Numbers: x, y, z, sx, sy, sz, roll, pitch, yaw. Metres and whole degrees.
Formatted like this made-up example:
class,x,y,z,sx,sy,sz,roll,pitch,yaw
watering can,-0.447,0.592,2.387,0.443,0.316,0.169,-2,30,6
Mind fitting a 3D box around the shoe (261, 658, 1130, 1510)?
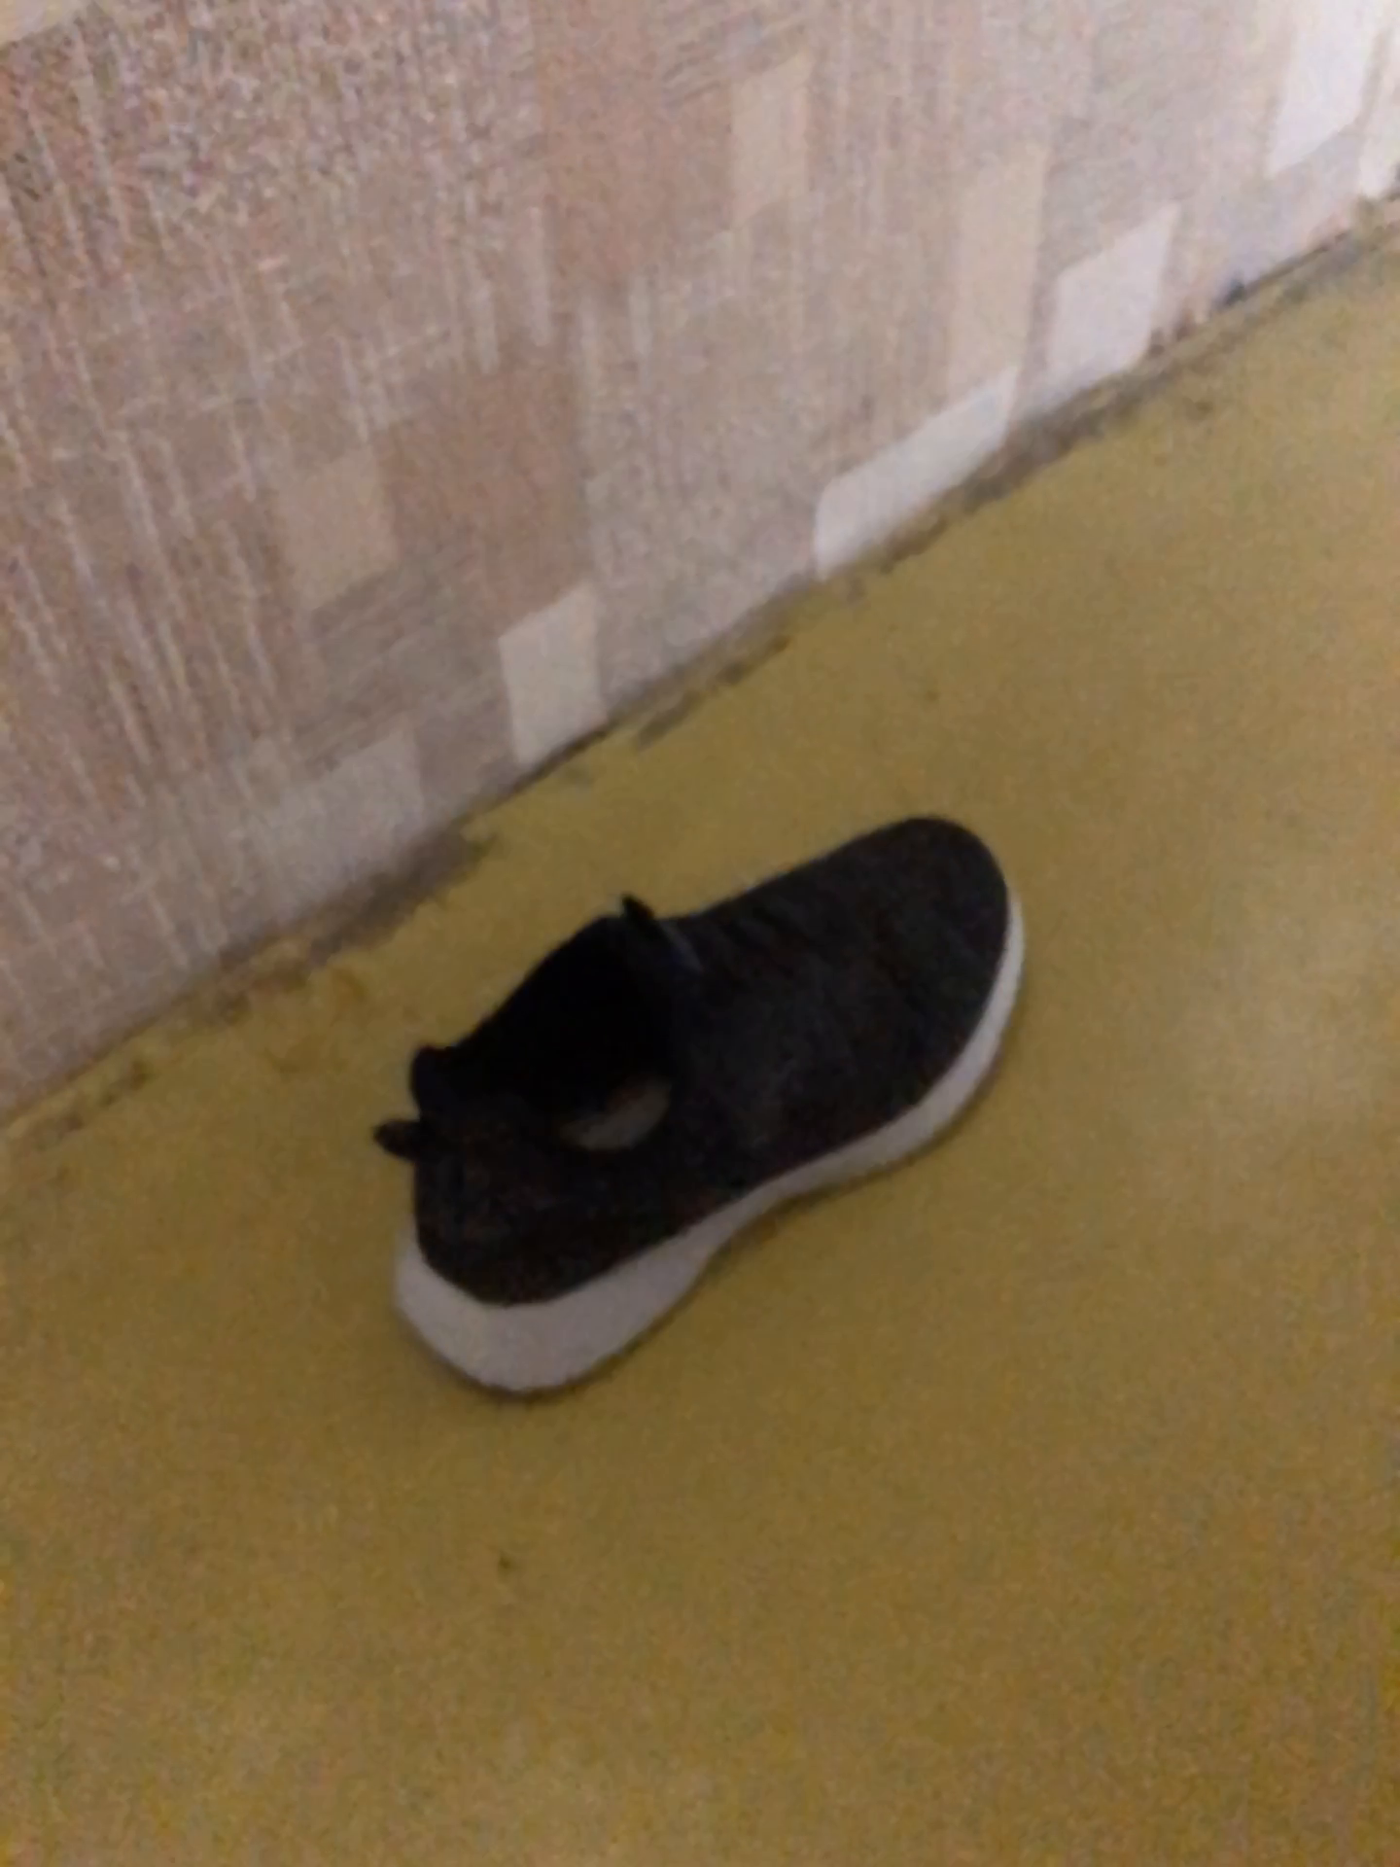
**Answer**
class,x,y,z,sx,sy,sz,roll,pitch,yaw
shoe,0.013,0.044,0.613,0.320,0.130,0.120,-37,56,-27
